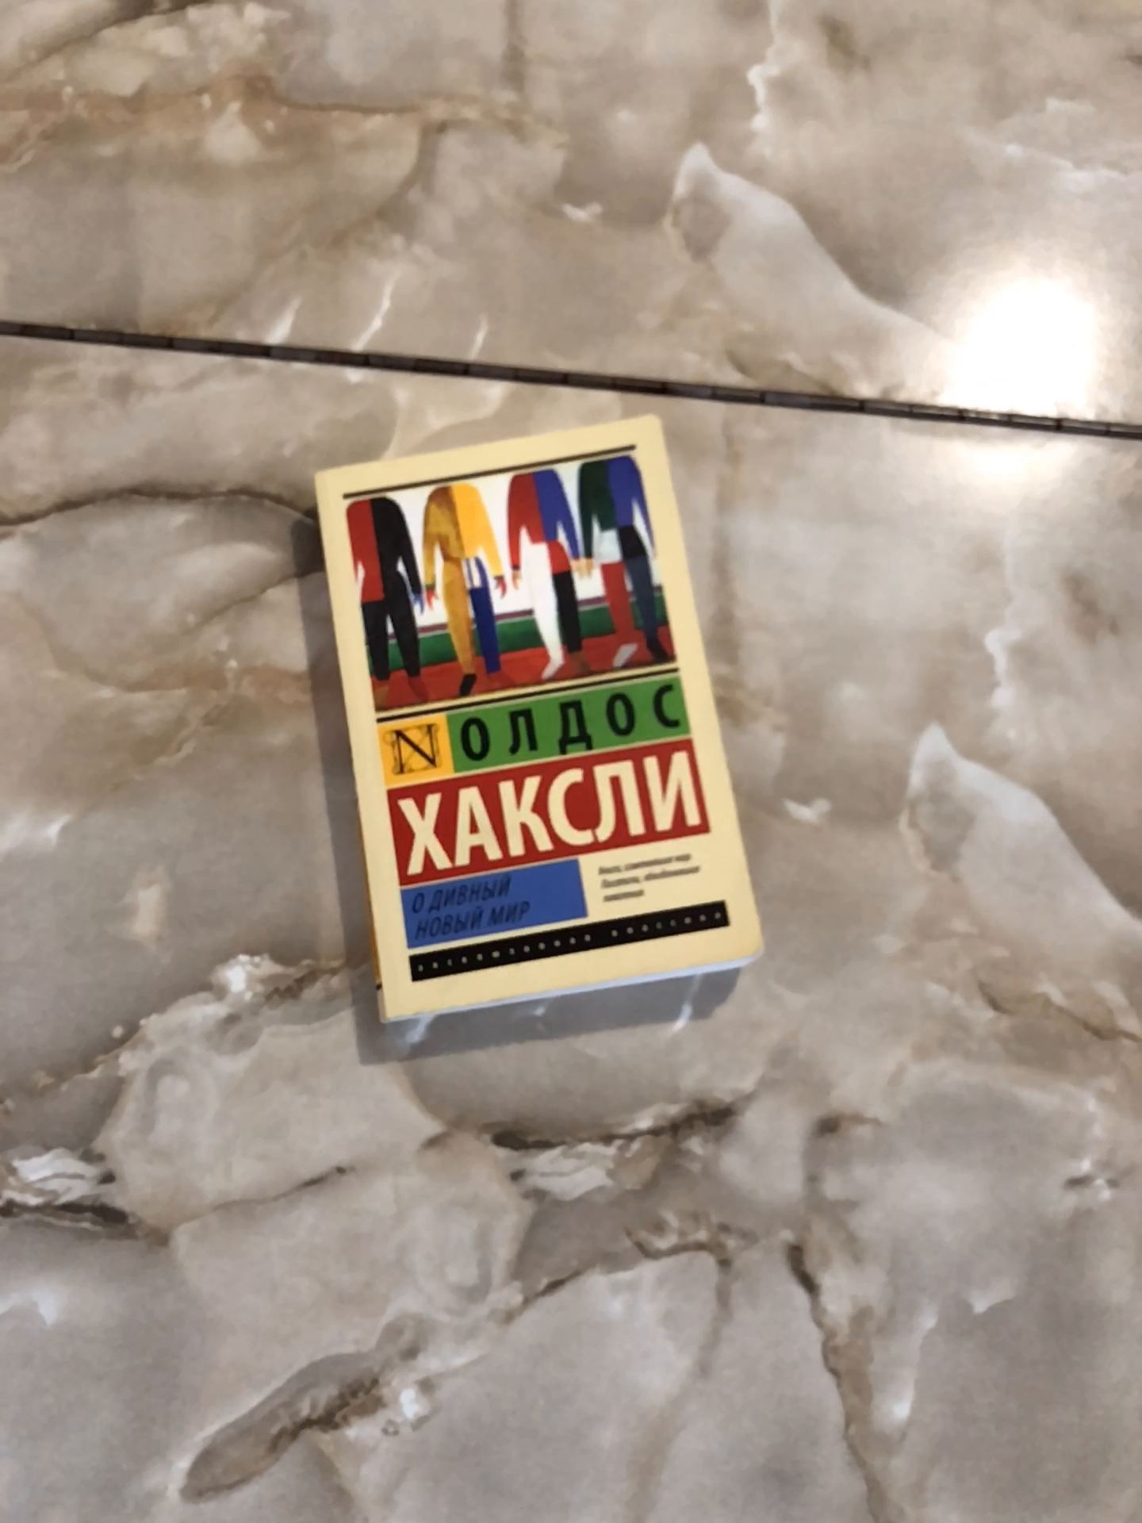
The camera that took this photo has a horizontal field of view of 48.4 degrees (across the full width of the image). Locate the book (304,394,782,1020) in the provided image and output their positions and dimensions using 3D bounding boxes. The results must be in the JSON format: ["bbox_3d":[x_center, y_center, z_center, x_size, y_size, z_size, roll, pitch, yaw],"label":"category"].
[{"bbox_3d":[-0.012,-0.021,0.406,0.120,0.020,0.184,-10,78,-3],"label":"book"}]
